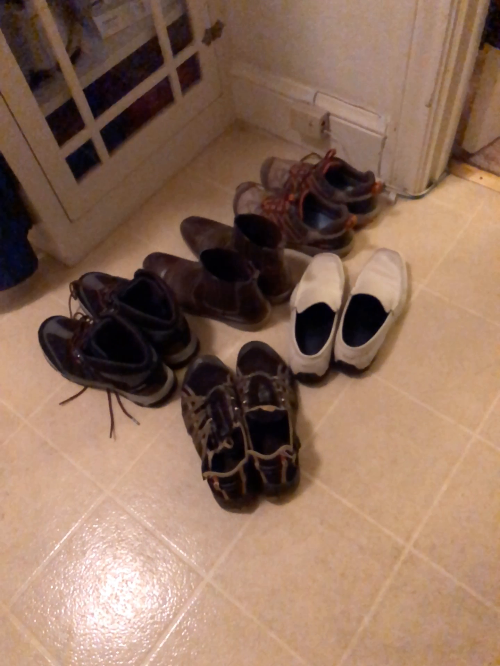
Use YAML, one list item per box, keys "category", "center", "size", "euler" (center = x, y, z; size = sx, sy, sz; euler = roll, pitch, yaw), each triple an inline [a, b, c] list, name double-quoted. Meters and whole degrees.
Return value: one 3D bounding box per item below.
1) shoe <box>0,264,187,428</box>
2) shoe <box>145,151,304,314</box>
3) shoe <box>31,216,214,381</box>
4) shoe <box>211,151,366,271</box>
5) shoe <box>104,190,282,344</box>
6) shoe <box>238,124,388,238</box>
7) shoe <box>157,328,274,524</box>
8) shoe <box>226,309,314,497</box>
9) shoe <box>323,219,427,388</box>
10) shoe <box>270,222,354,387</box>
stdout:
- category: "shoe"
  center: [-0.299, 0.025, 1.029]
  size: [0.323, 0.192, 0.110]
  euler: [23, 63, 20]
- category: "shoe"
  center: [-0.049, -0.212, 1.159]
  size: [0.324, 0.192, 0.110]
  euler: [35, 68, 25]
- category: "shoe"
  center: [-0.245, -0.069, 1.090]
  size: [0.324, 0.192, 0.110]
  euler: [30, 66, 23]
- category: "shoe"
  center: [0.080, -0.269, 1.196]
  size: [0.314, 0.113, 0.110]
  euler: [28, 65, 22]
- category: "shoe"
  center: [-0.109, -0.134, 1.119]
  size: [0.323, 0.192, 0.110]
  euler: [25, 64, 20]
- category: "shoe"
  center: [0.138, -0.348, 1.245]
  size: [0.314, 0.113, 0.110]
  euler: [28, 65, 22]
- category: "shoe"
  center: [-0.062, 0.157, 0.962]
  size: [0.110, 0.123, 0.294]
  euler: [-18, 57, -5]
- category: "shoe"
  center: [0.033, 0.120, 0.977]
  size: [0.110, 0.123, 0.294]
  euler: [-8, 57, 1]
- category: "shoe"
  center: [0.244, -0.063, 1.072]
  size: [0.110, 0.113, 0.304]
  euler: [16, 61, 16]
- category: "shoe"
  center: [0.128, -0.062, 1.083]
  size: [0.110, 0.113, 0.304]
  euler: [8, 59, 12]
